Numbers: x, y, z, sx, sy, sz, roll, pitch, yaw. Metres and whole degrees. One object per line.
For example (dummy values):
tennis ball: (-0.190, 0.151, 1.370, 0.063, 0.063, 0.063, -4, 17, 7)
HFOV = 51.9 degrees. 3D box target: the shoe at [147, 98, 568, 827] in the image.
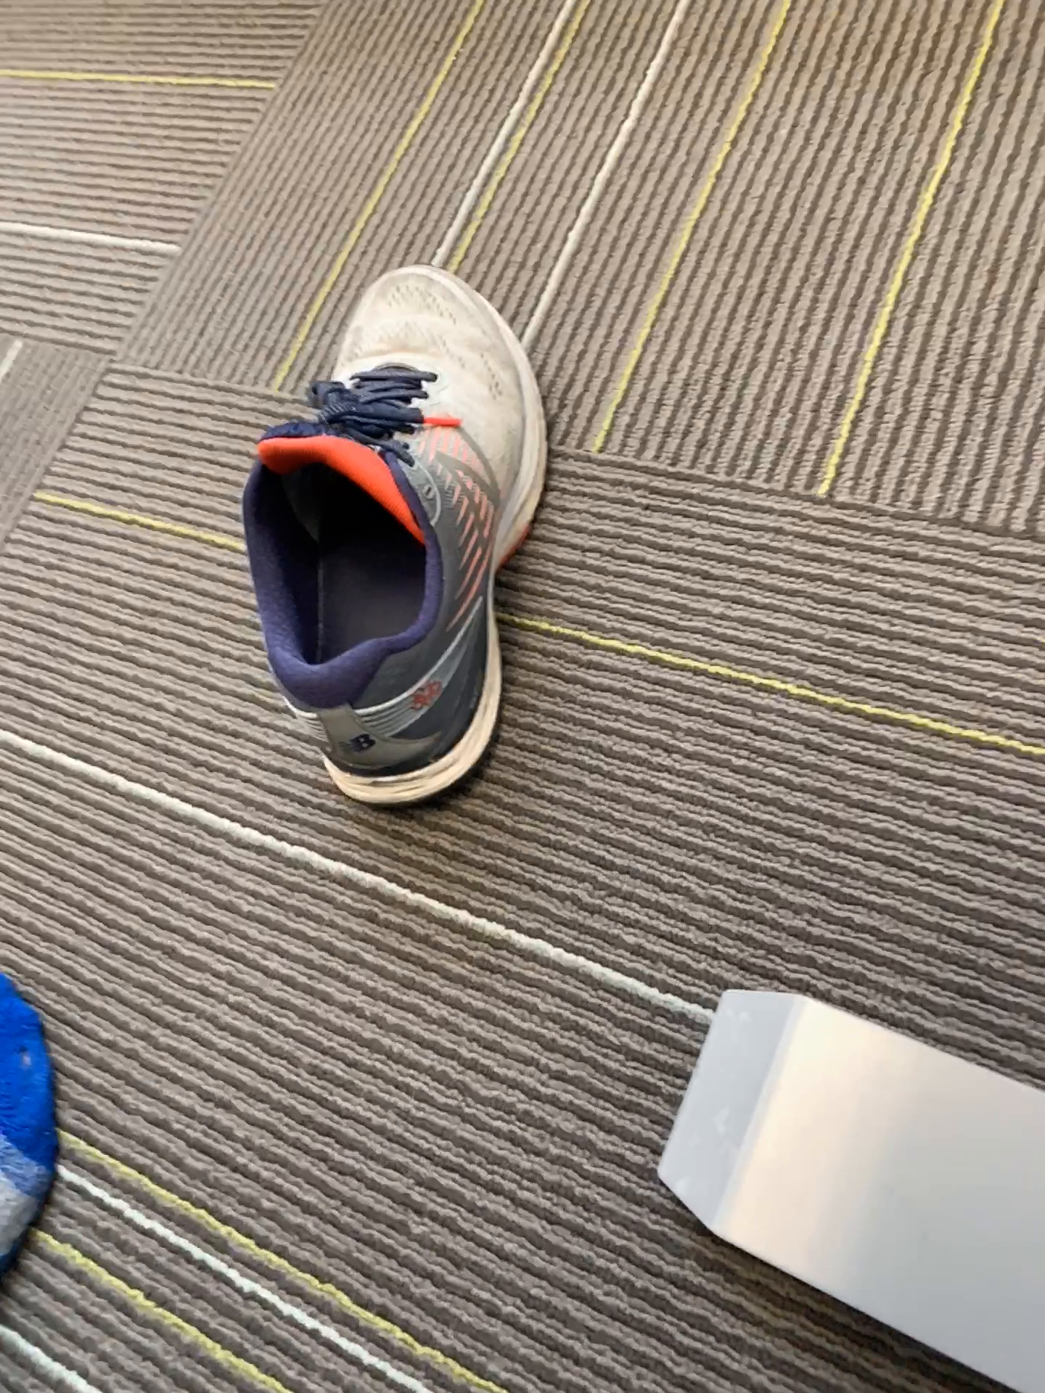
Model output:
shoe: (-0.058, -0.102, 0.483, 0.110, 0.110, 0.300, -2, 68, 18)
